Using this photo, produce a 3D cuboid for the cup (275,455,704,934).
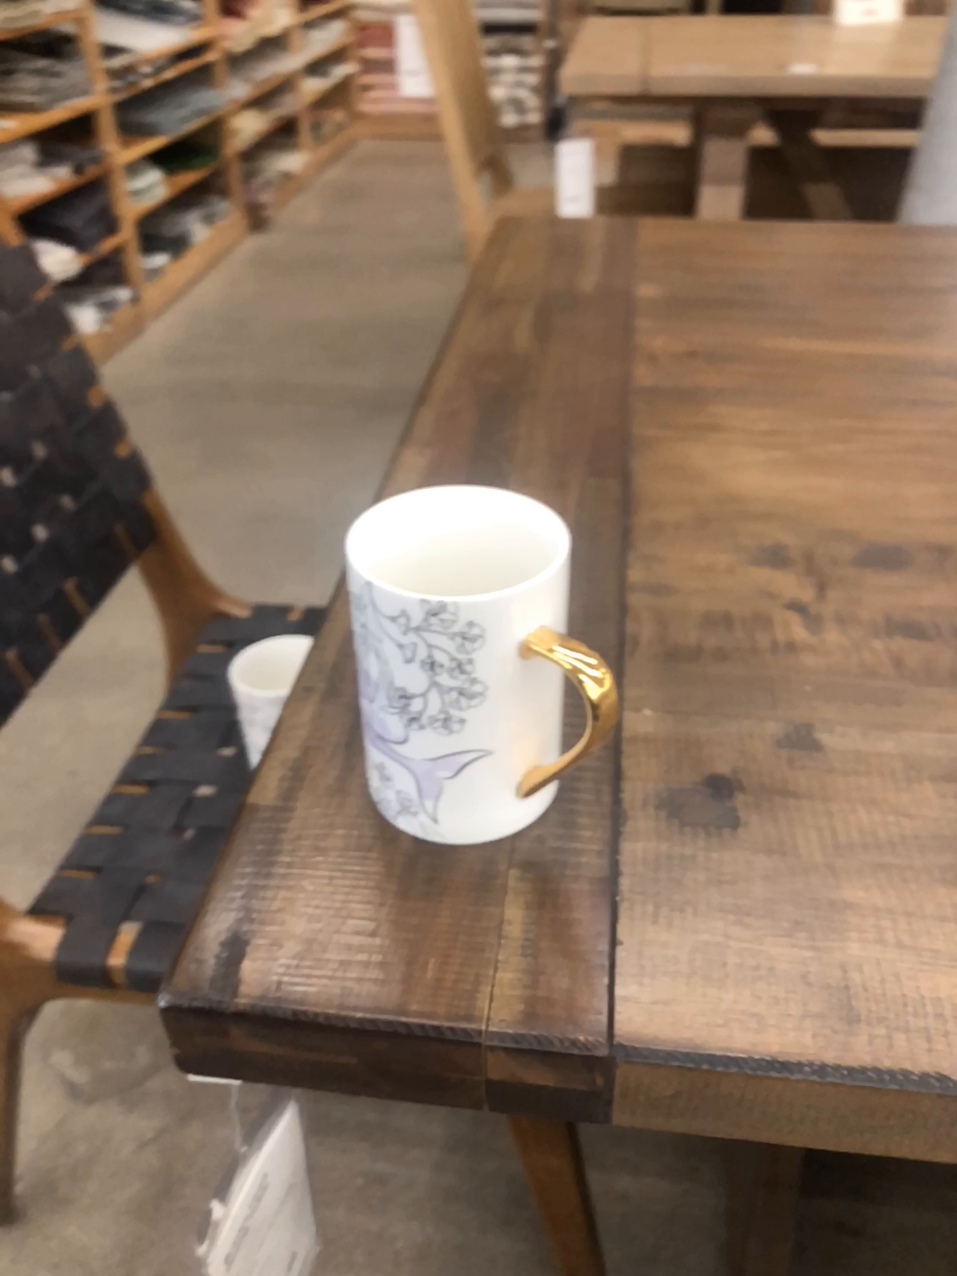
[{"bbox_3d":[0.002,0.015,0.393,0.122,0.111,0.083,28,44,35],"label":"cup"}]
